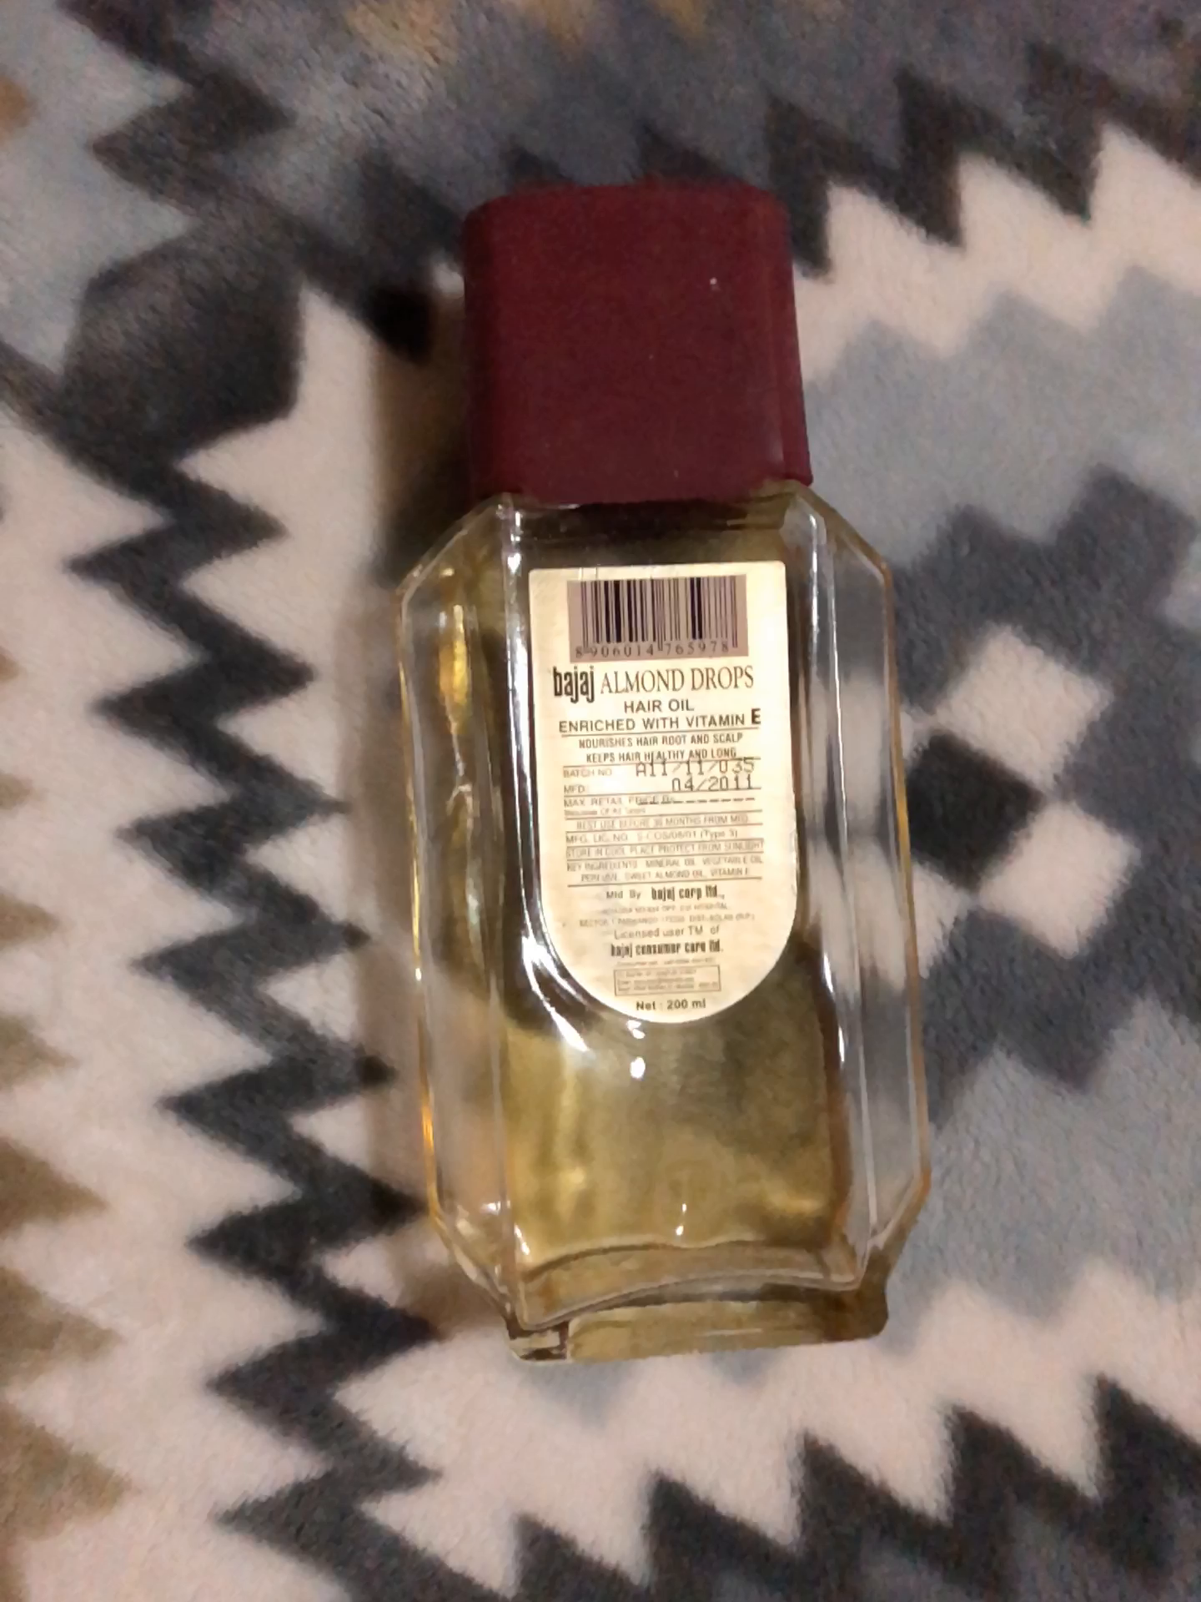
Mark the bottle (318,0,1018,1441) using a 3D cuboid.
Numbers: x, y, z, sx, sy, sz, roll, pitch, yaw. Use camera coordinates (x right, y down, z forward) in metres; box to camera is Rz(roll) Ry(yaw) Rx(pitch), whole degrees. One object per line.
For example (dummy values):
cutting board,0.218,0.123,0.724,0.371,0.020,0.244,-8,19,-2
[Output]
bottle,0.007,-0.014,0.201,0.080,0.040,0.190,-4,85,-2
